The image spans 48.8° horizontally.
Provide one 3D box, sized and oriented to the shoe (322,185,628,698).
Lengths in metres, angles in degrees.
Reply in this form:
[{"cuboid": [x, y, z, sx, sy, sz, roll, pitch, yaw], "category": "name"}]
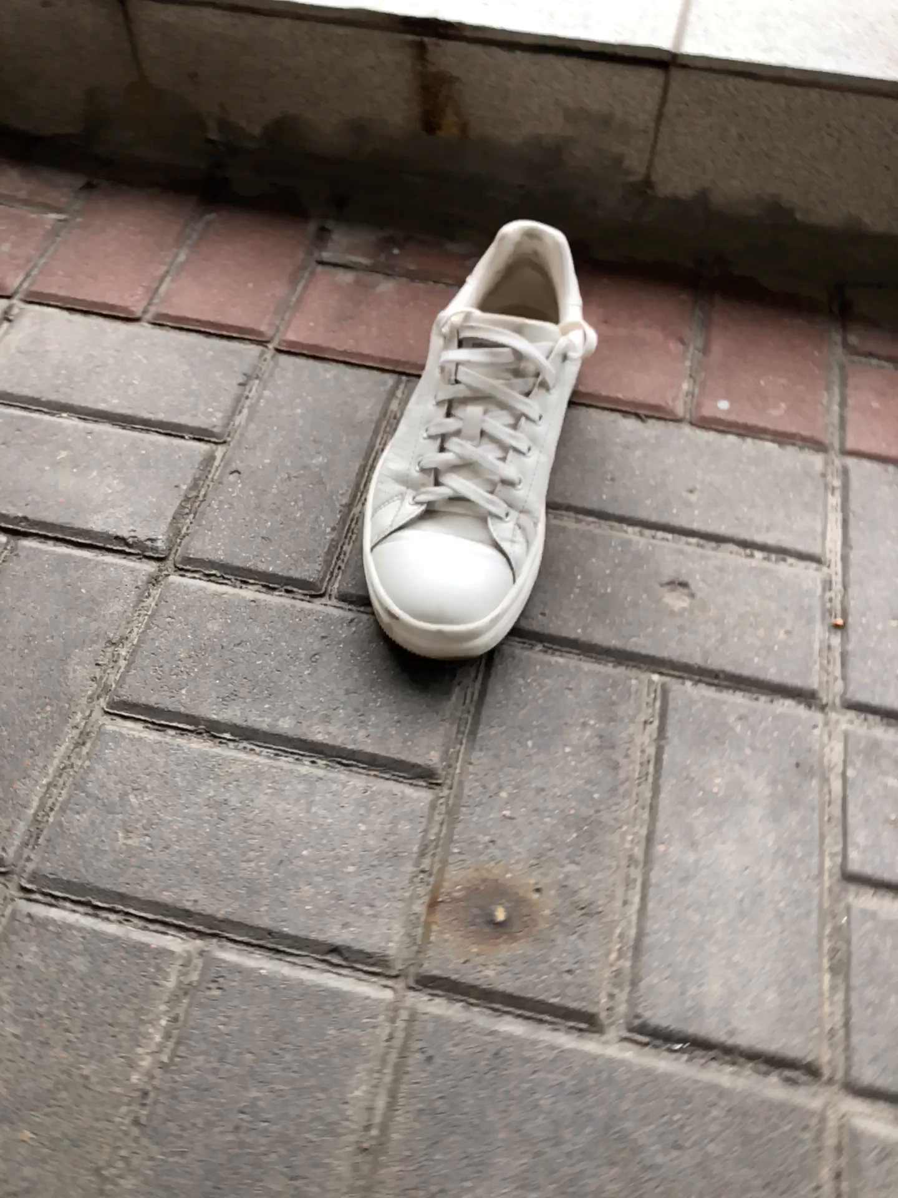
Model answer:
[{"cuboid": [0.023, -0.106, 0.597, 0.110, 0.119, 0.293, 13, 54, 5], "category": "shoe"}]
